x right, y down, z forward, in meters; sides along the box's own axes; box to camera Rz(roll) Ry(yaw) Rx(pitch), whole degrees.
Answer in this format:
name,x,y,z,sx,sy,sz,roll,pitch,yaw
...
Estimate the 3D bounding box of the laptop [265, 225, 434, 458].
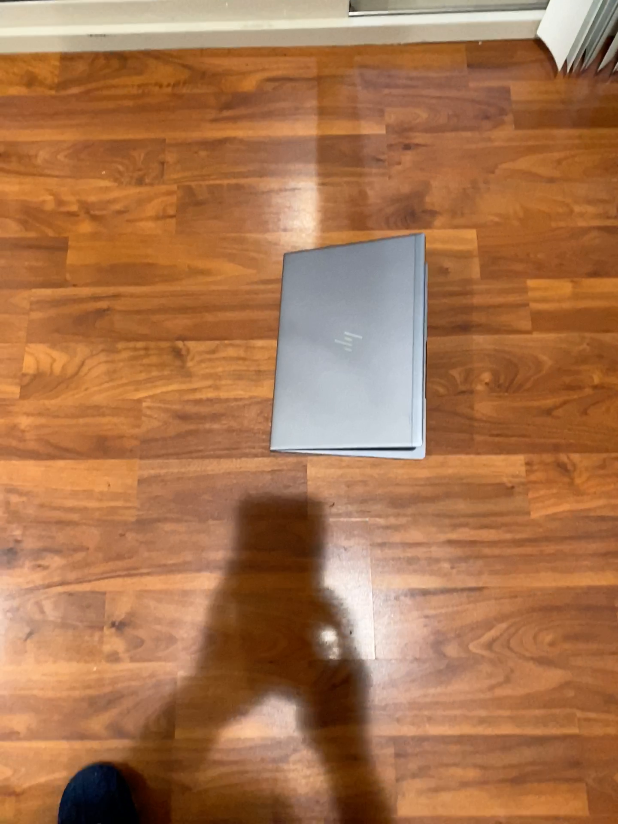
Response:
name,x,y,z,sx,sy,sz,roll,pitch,yaw
laptop,0.064,-0.106,0.935,0.230,0.078,0.325,3,76,0
